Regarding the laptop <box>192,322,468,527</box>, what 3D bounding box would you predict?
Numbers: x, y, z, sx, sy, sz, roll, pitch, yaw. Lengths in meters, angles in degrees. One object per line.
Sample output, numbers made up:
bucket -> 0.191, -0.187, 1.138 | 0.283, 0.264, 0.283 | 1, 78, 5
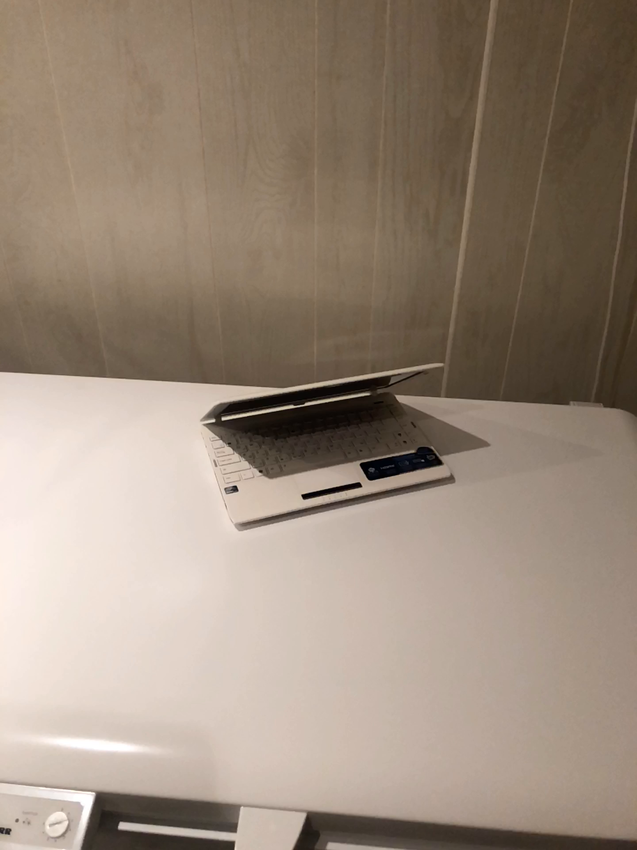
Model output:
laptop -> 0.008, -0.012, 0.925 | 0.298, 0.115, 0.199 | -11, 40, -17
